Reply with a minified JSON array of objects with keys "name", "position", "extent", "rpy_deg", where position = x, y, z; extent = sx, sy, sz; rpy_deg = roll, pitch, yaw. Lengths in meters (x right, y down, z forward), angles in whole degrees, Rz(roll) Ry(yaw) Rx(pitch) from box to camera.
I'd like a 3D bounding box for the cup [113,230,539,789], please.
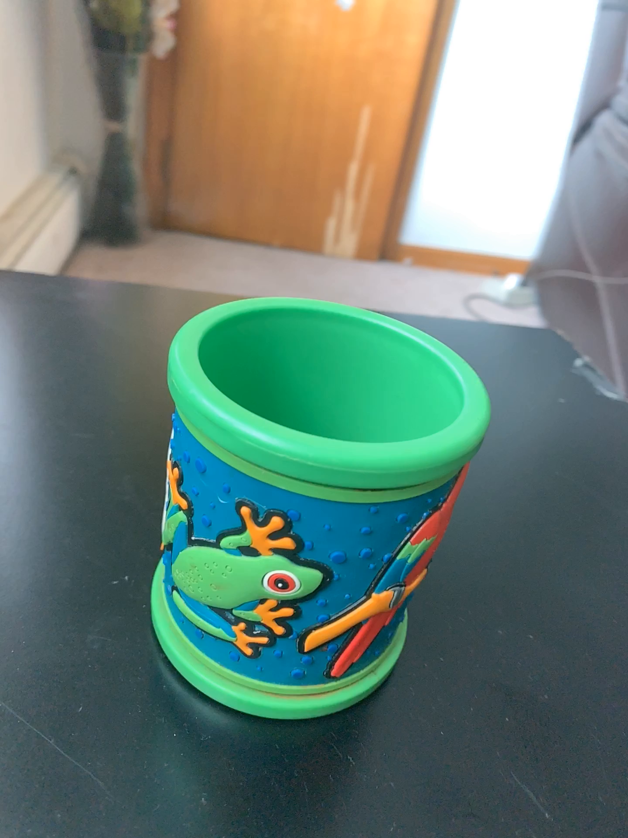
[{"name":"cup","position":[0.002,0.016,0.200],"extent":[0.080,0.099,0.121],"rpy_deg":[12,32,1]}]
